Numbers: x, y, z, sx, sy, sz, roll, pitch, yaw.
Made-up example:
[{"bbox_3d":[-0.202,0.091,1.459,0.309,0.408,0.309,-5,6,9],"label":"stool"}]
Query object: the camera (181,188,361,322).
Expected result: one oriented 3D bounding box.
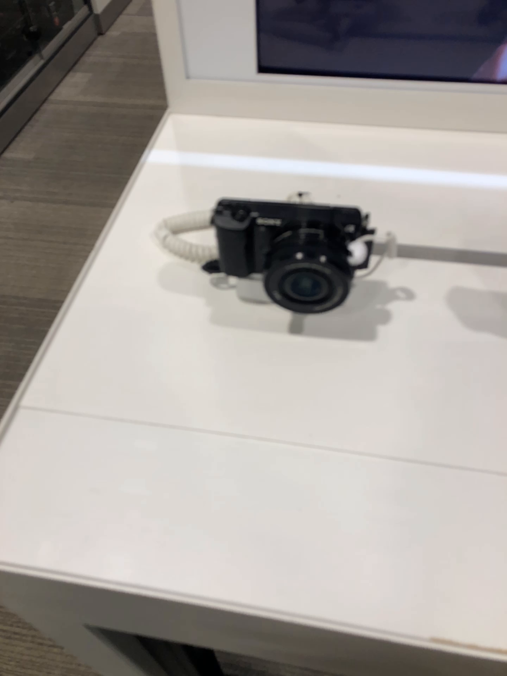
[{"bbox_3d":[0.015,-0.059,0.391,0.113,0.060,0.062,6,52,8],"label":"camera"}]
